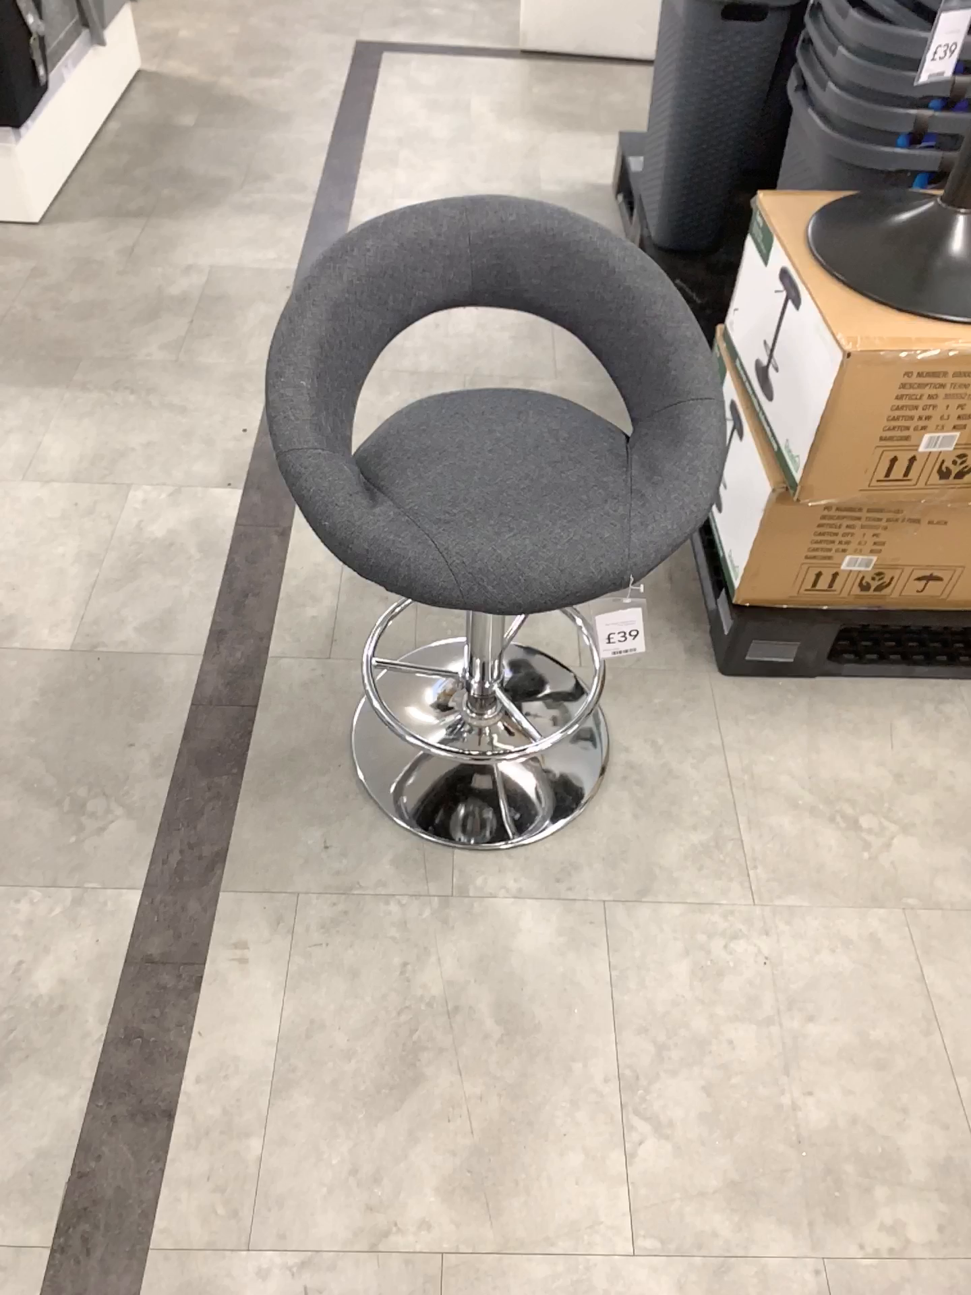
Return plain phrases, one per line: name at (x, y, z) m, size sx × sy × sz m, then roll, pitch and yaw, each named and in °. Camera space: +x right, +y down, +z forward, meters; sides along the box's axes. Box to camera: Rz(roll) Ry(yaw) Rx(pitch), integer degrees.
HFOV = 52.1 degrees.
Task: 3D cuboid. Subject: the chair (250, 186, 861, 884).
chair at (0.029, -0.111, 1.333) m, size 0.546 × 0.788 × 0.490 m, roll -2°, pitch 48°, yaw -5°
